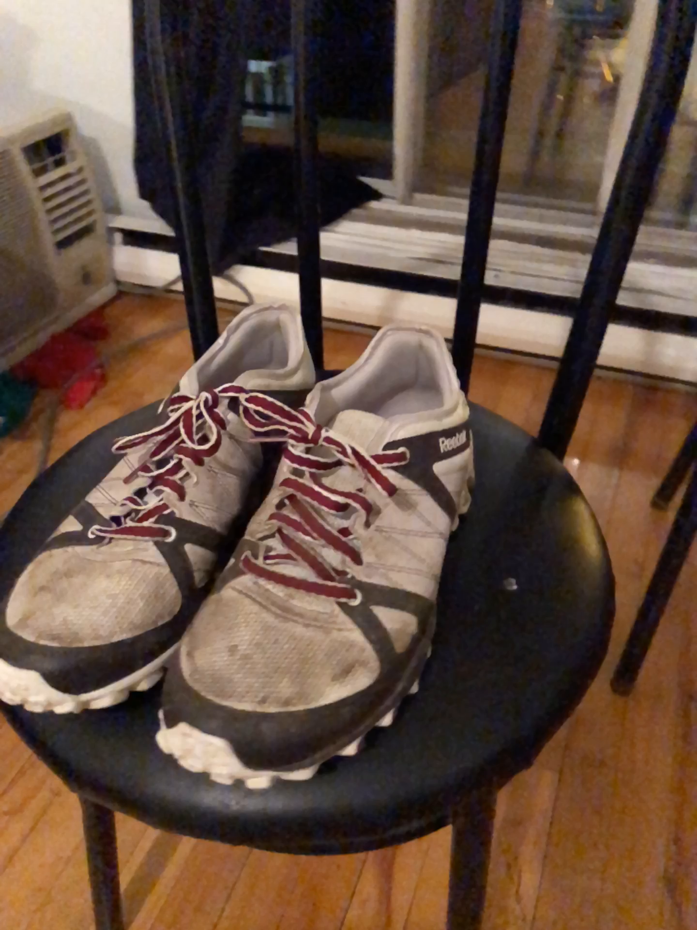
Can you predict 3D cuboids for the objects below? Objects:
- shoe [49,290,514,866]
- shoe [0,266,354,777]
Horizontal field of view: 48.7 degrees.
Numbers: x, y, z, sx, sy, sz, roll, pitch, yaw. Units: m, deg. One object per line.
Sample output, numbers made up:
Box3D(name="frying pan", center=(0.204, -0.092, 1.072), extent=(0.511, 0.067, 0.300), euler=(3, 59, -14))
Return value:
Box3D(name="shoe", center=(-0.005, 0.026, 0.426), extent=(0.120, 0.099, 0.312), euler=(13, 41, 16))
Box3D(name="shoe", center=(-0.098, 0.001, 0.449), extent=(0.100, 0.099, 0.312), euler=(13, 41, 16))
